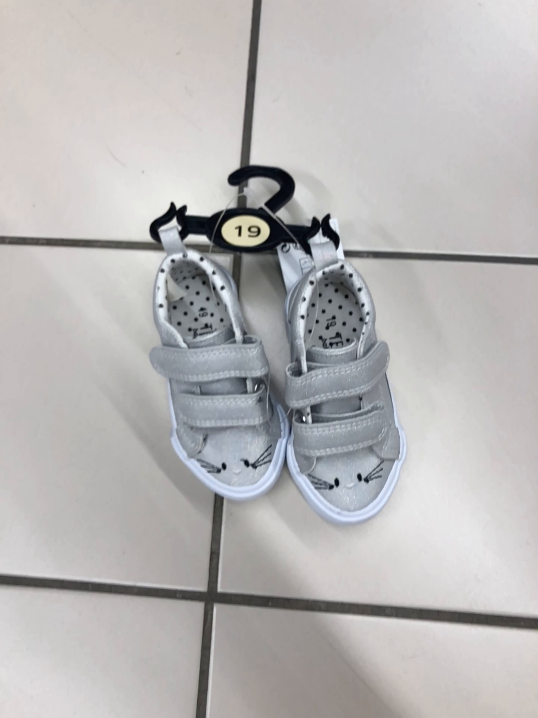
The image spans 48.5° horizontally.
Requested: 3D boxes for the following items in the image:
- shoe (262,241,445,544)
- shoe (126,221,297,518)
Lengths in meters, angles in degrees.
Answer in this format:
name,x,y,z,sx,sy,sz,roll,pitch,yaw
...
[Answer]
name,x,y,z,sx,sy,sz,roll,pitch,yaw
shoe,0.041,0.017,0.314,0.064,0.054,0.138,-10,81,3
shoe,-0.029,0.006,0.320,0.059,0.054,0.138,-12,81,3
